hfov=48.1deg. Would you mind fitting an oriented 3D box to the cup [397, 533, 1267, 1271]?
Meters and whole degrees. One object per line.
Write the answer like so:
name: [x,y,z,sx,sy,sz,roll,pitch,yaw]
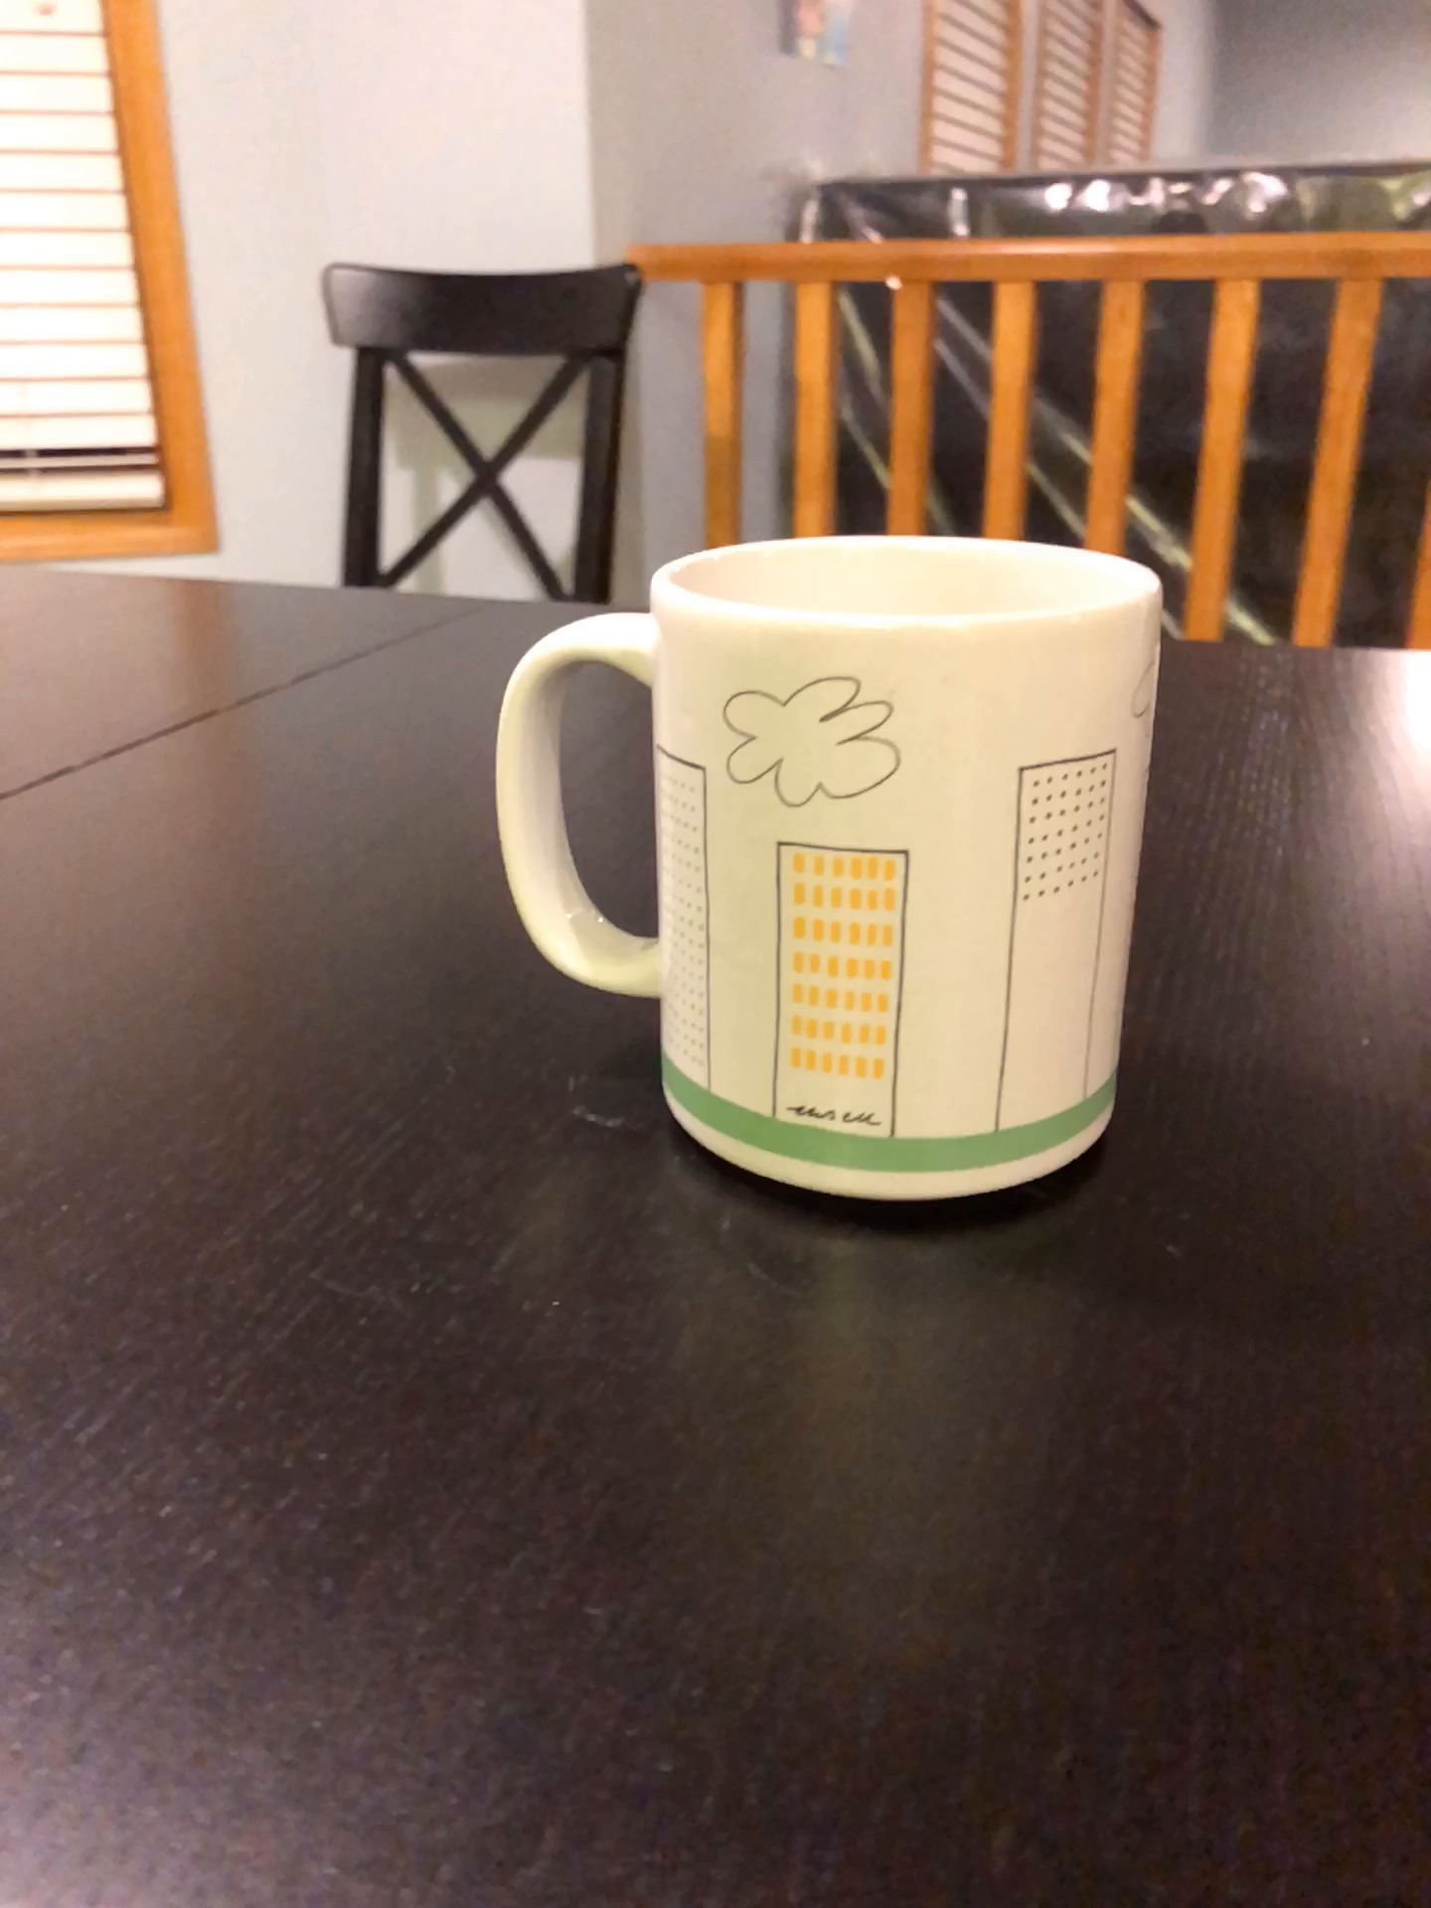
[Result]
cup: [0.025,-0.018,0.294,0.130,0.100,0.090,6,22,14]
